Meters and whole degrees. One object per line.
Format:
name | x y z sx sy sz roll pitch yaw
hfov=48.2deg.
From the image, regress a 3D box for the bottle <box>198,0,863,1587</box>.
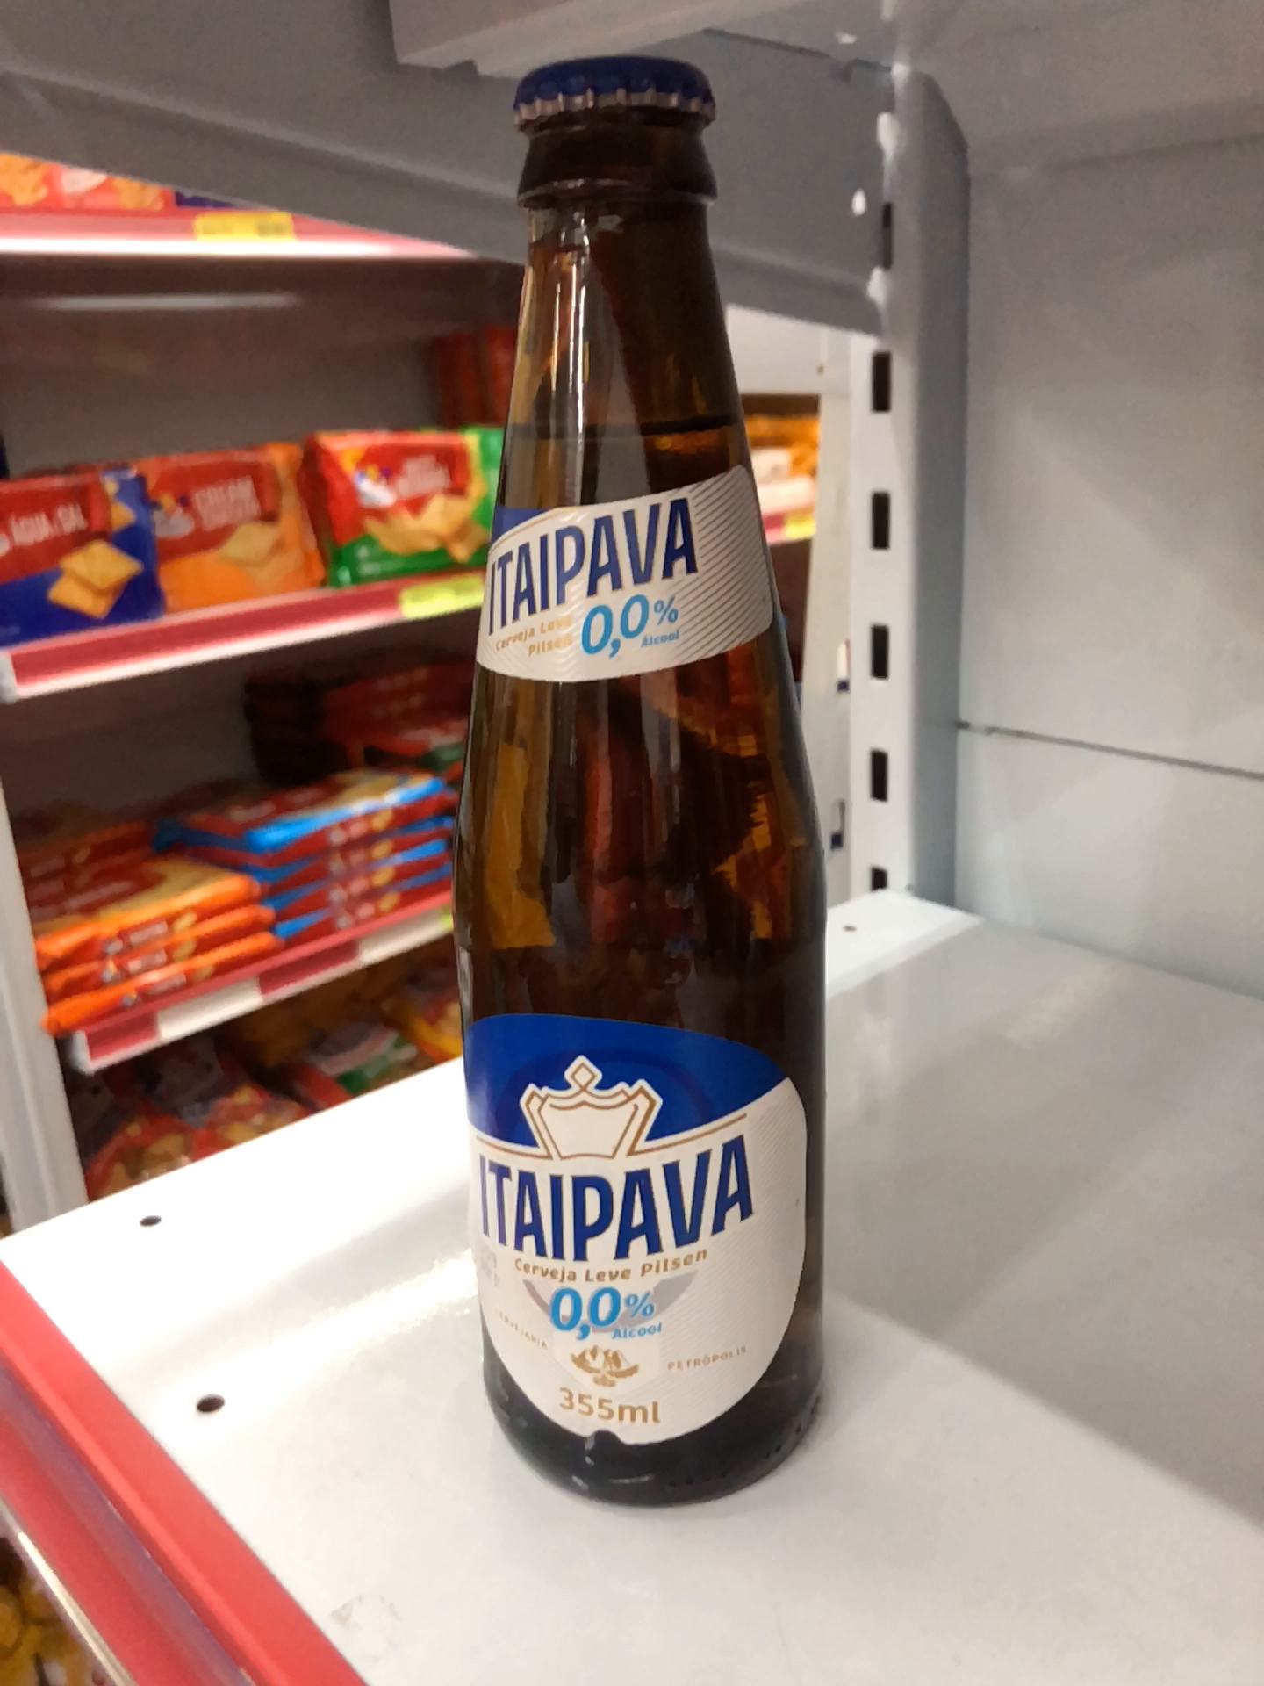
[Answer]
bottle | -0.003 -0.006 0.203 0.060 0.209 0.060 -3 18 1
